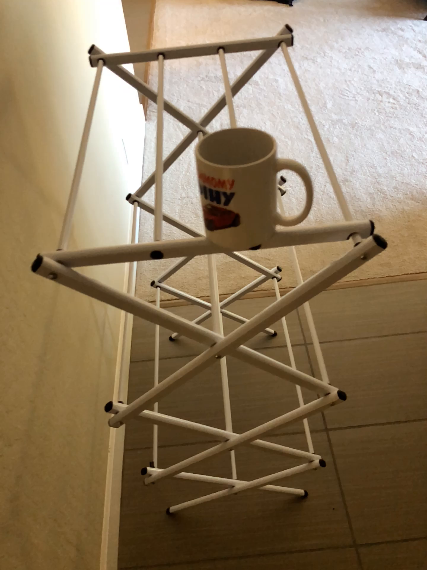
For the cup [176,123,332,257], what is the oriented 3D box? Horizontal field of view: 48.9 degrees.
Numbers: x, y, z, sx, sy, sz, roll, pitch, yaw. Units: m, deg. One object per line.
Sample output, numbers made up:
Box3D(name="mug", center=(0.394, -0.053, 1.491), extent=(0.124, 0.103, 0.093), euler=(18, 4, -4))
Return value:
Box3D(name="cup", center=(0.045, -0.098, 0.473), extent=(0.130, 0.090, 0.090), euler=(7, 45, 17))
